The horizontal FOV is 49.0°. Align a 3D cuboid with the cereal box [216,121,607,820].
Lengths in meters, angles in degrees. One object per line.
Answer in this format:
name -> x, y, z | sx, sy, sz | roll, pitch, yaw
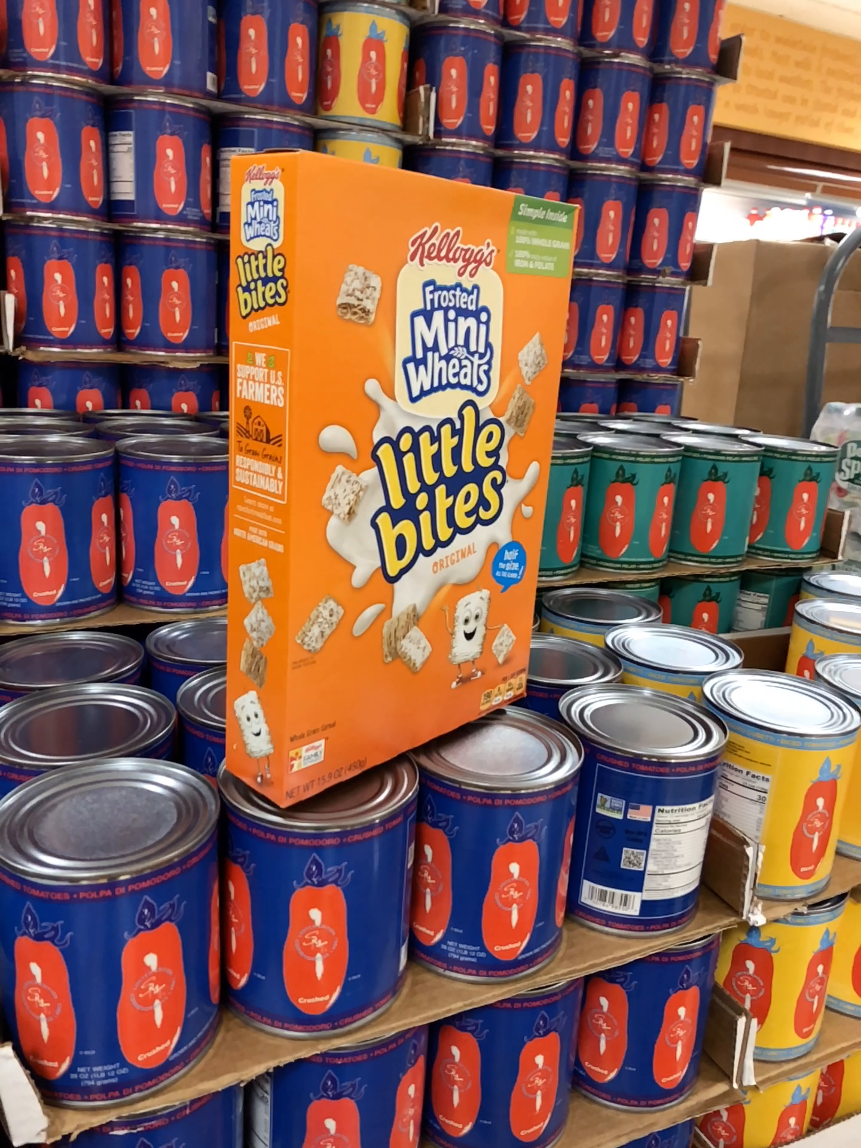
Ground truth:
cereal box -> -0.006, -0.052, 0.479 | 0.060, 0.289, 0.201 | 17, 20, 37
